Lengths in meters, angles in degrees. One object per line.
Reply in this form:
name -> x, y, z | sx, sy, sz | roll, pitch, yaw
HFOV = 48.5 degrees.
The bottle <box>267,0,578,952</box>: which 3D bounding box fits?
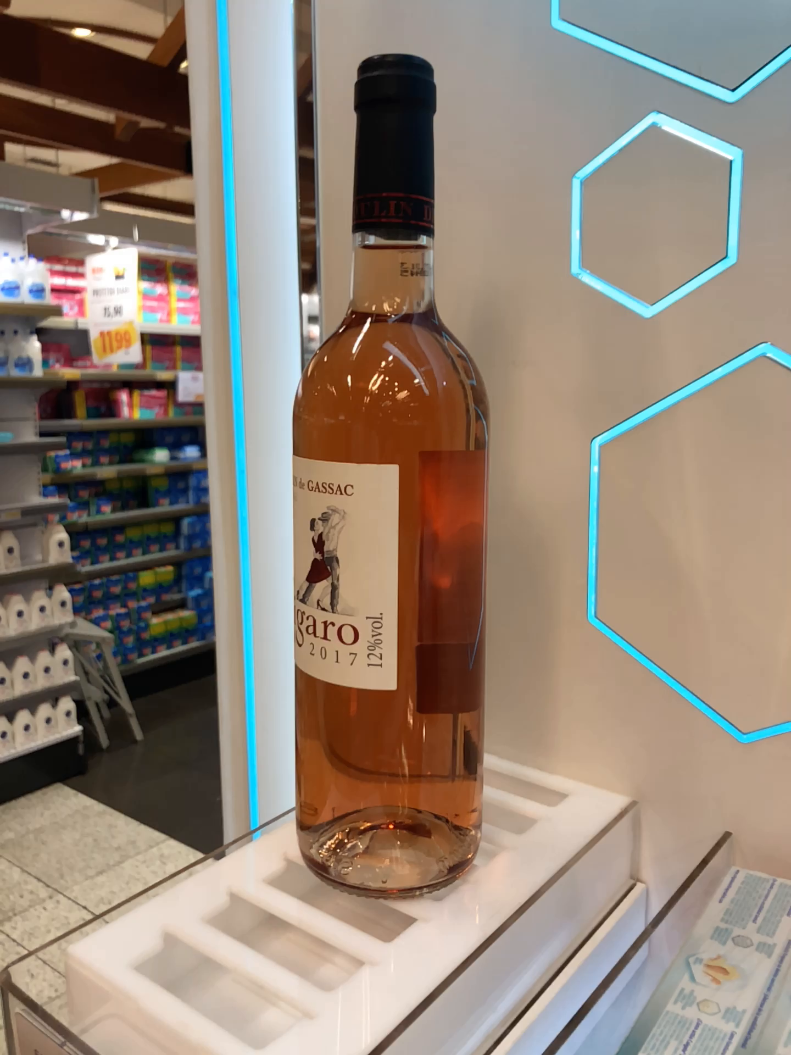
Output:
bottle -> 0.005, -0.017, 0.349 | 0.080, 0.319, 0.090 | -4, 9, -33
